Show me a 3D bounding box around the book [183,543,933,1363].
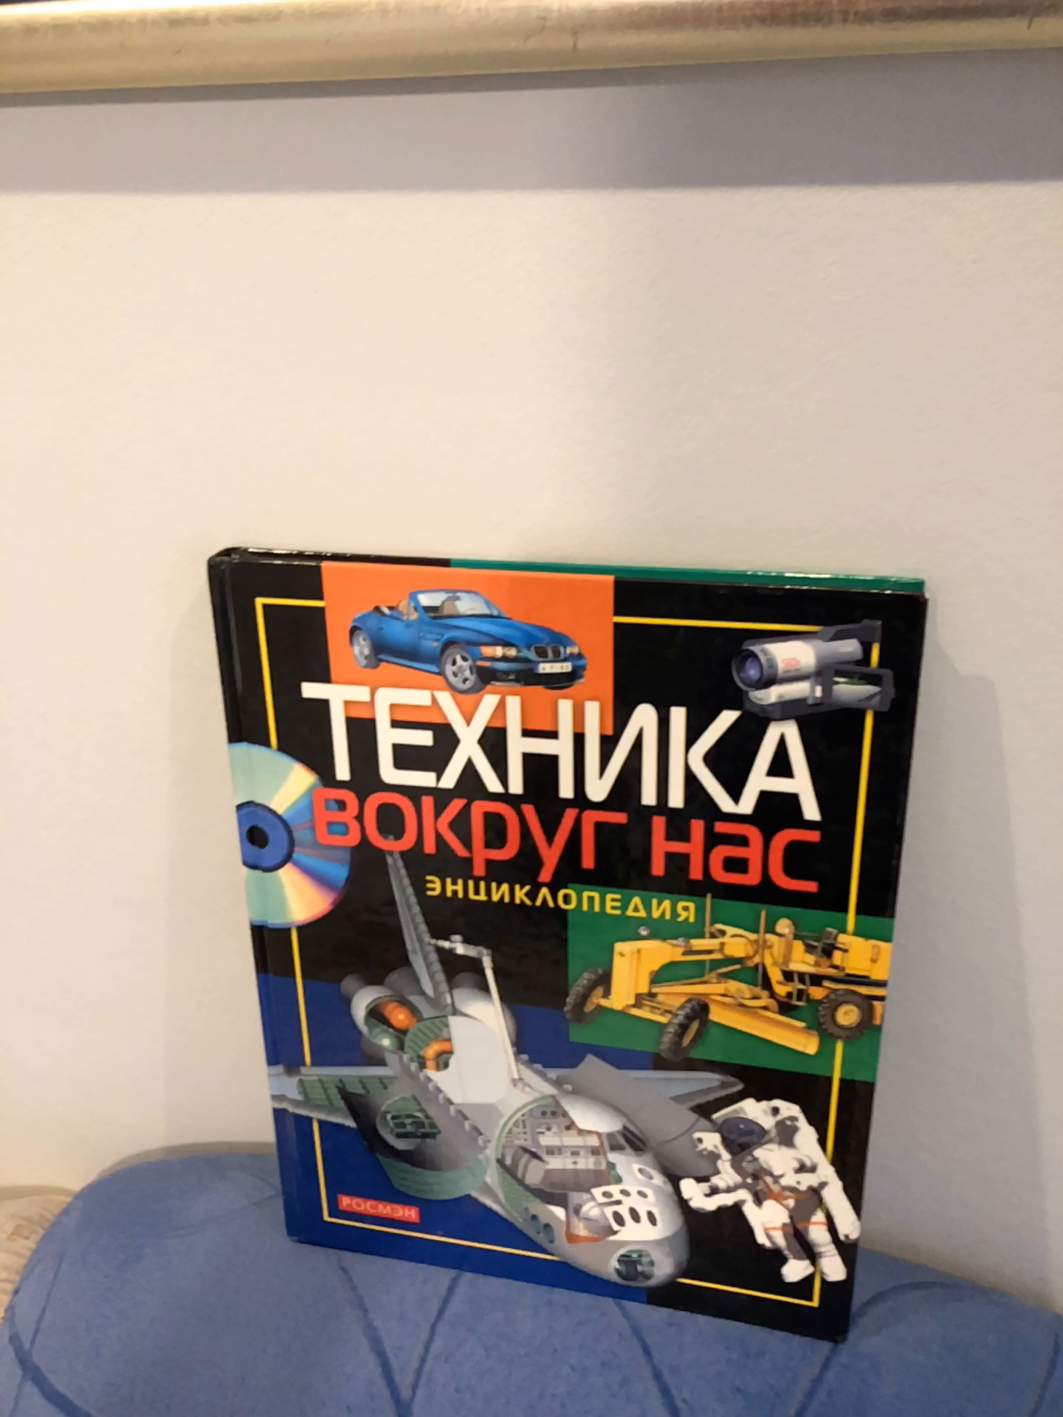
[{"bbox_3d":[0.007,0.088,0.401,0.220,0.278,0.030,4,22,13],"label":"book"}]
